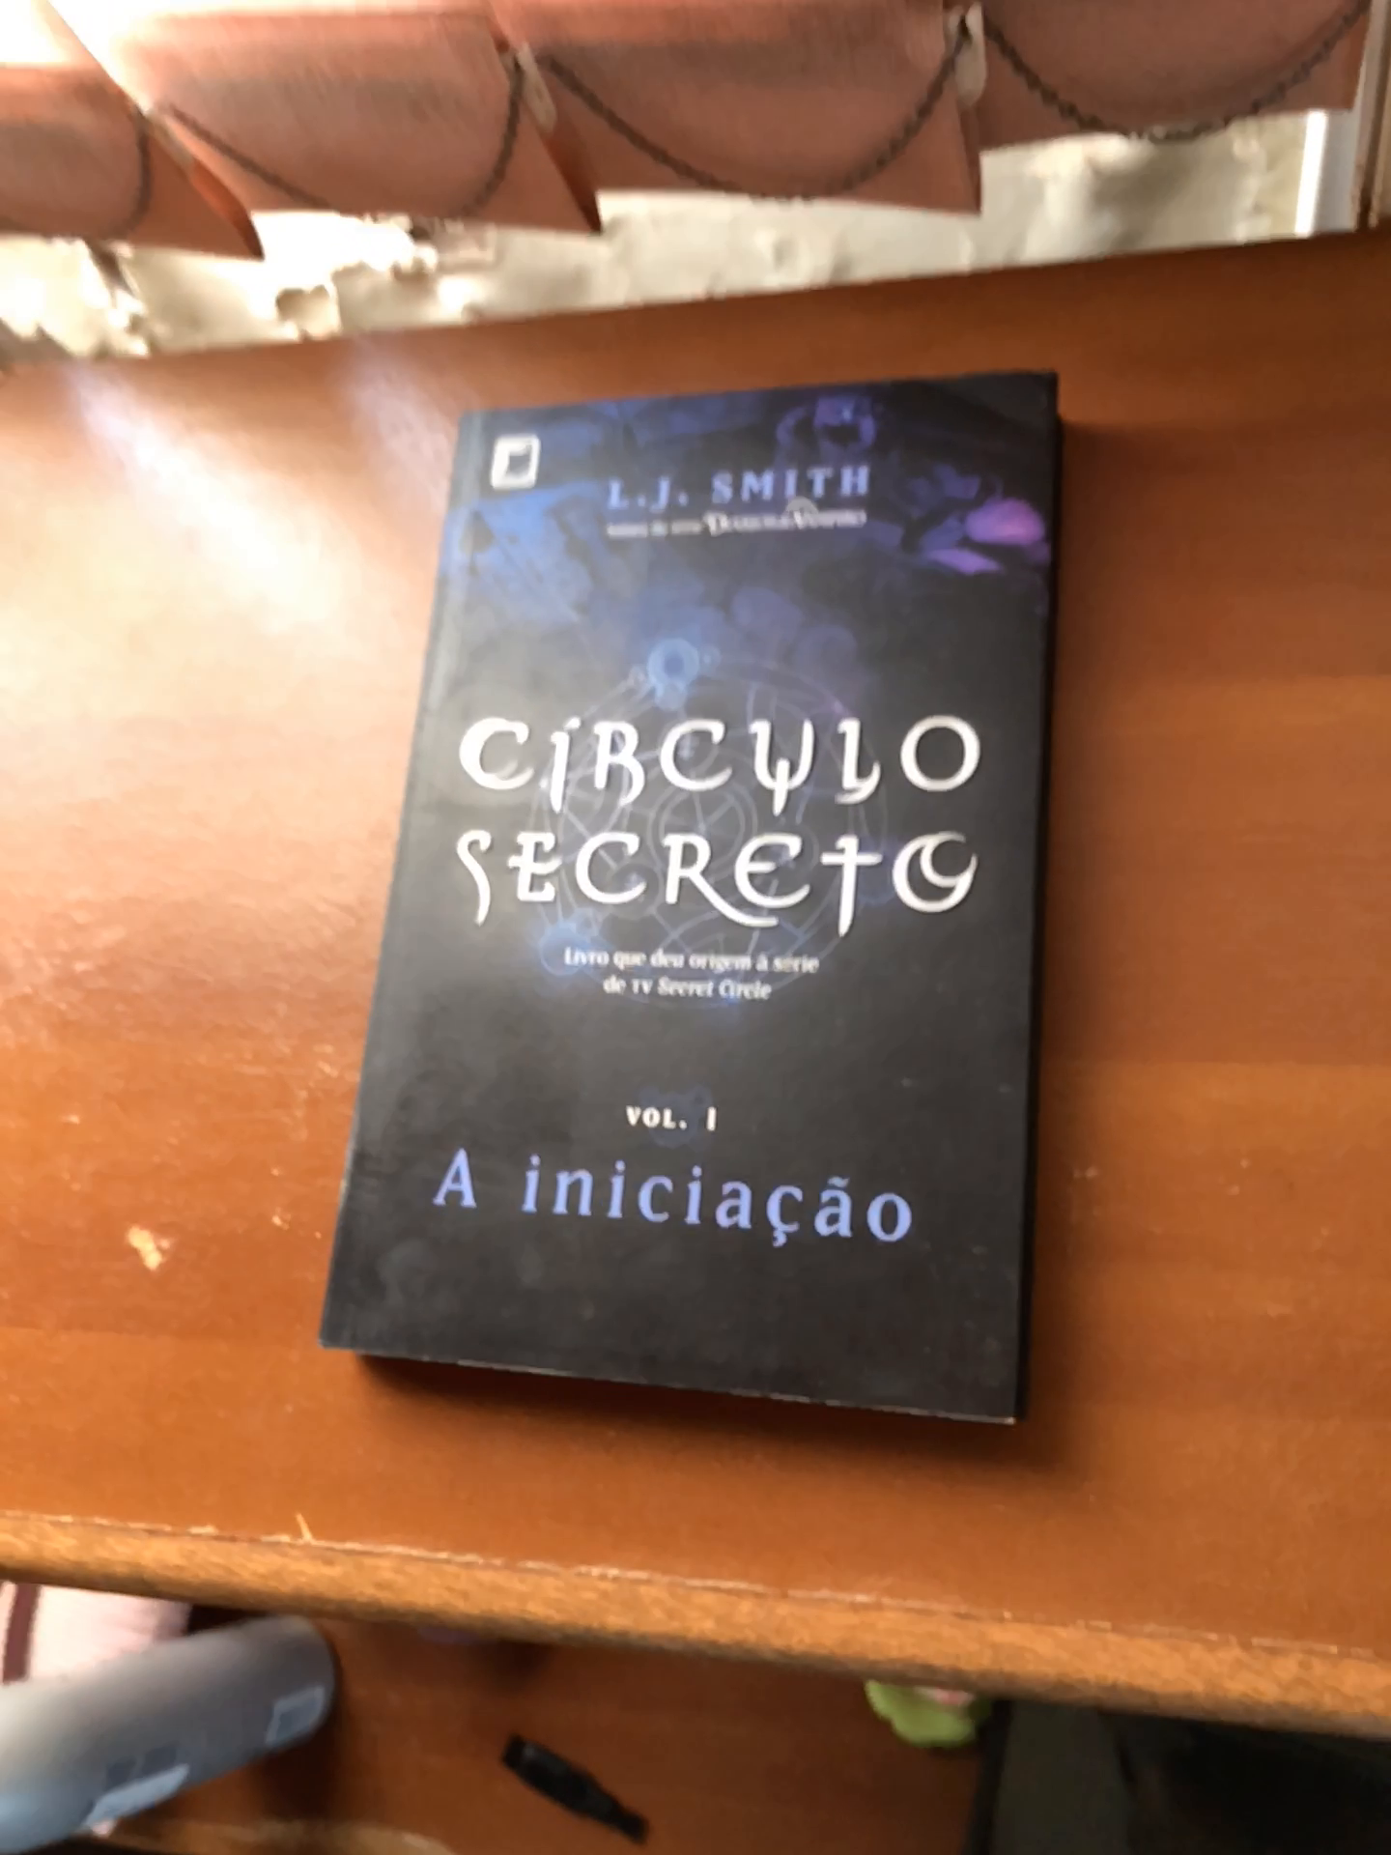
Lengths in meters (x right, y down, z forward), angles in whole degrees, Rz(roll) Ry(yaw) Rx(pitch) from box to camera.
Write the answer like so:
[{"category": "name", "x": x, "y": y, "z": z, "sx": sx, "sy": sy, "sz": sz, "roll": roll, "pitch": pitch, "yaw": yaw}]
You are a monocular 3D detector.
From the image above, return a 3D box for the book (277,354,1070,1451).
[{"category": "book", "x": 0.001, "y": -0.013, "z": 0.317, "sx": 0.140, "sy": 0.024, "sz": 0.214, "roll": 1, "pitch": 73, "yaw": 14}]
